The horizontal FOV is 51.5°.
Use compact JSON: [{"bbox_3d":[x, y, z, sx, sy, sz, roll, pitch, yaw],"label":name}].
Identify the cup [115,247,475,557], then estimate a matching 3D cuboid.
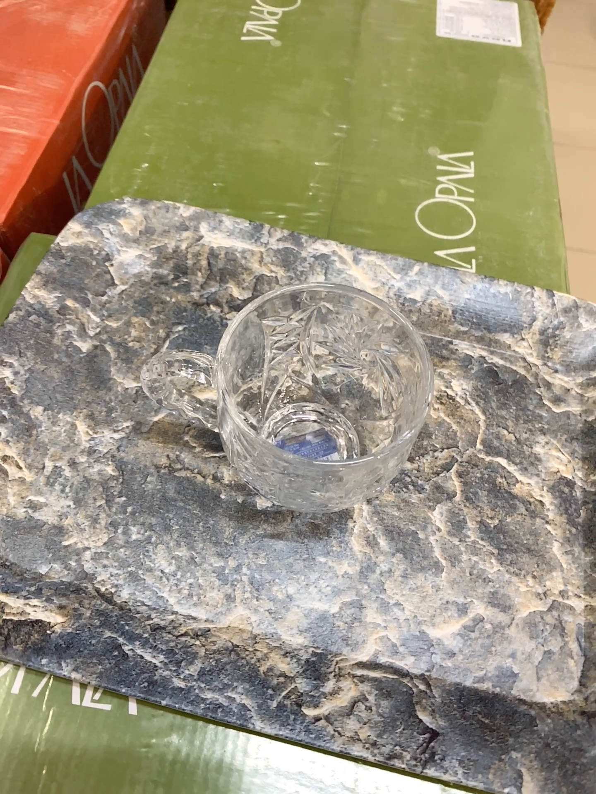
[{"bbox_3d":[-0.001,0.005,0.222,0.100,0.070,0.080,4,58,-2],"label":"cup"}]
